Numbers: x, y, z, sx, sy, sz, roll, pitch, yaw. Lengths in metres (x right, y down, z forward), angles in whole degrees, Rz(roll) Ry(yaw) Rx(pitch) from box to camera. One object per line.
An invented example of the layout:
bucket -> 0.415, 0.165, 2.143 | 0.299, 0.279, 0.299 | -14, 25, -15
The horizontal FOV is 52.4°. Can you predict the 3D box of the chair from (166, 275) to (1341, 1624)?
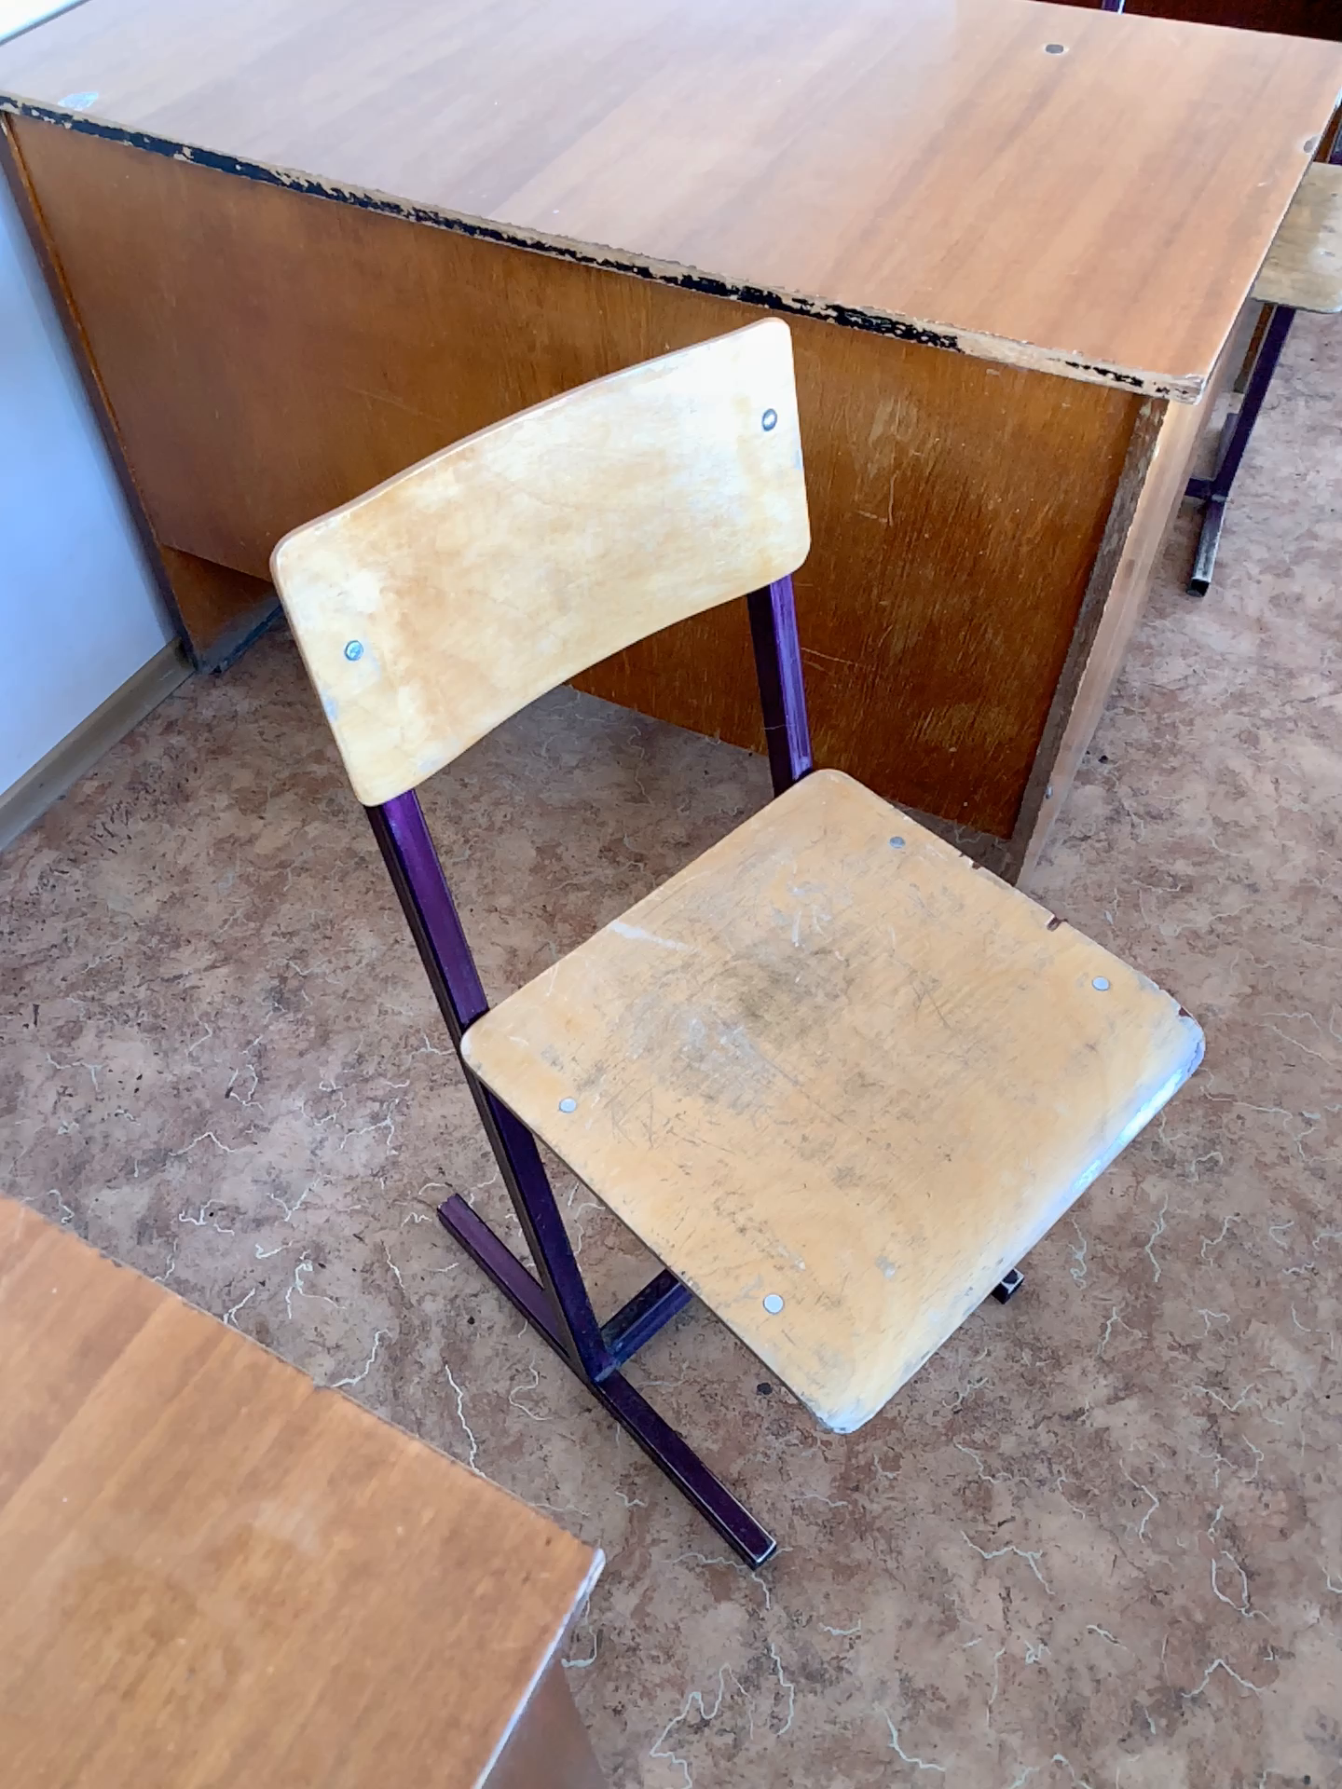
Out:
chair -> 0.051, 0.083, 0.936 | 0.381, 0.734, 0.472 | -36, 59, -25
